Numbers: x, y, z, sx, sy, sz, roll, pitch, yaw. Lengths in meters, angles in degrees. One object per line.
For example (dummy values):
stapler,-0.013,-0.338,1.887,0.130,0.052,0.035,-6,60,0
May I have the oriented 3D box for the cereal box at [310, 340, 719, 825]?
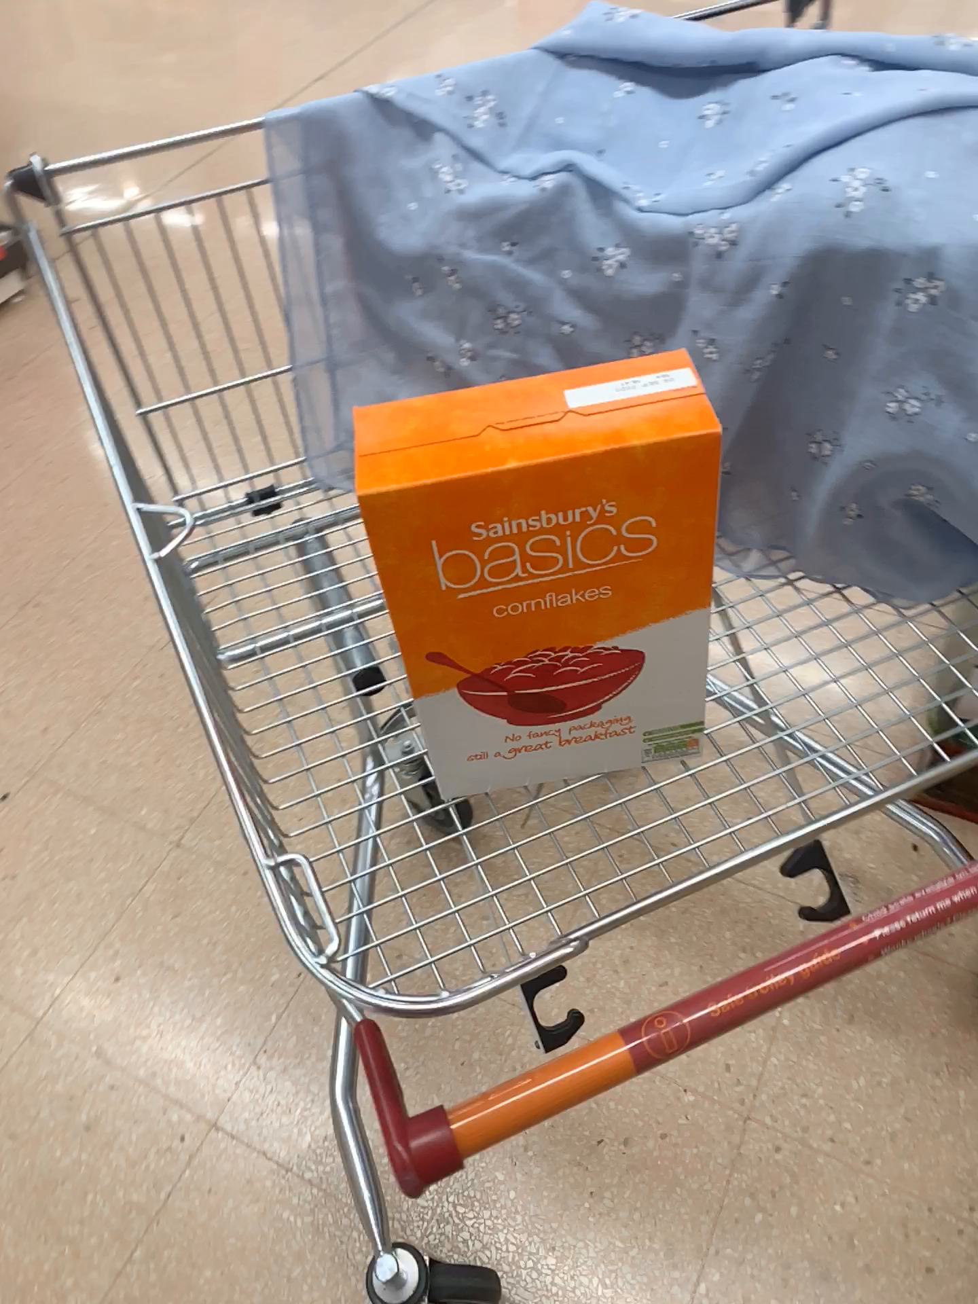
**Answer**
cereal box,0.027,-0.024,0.642,0.210,0.307,0.081,-10,46,1
